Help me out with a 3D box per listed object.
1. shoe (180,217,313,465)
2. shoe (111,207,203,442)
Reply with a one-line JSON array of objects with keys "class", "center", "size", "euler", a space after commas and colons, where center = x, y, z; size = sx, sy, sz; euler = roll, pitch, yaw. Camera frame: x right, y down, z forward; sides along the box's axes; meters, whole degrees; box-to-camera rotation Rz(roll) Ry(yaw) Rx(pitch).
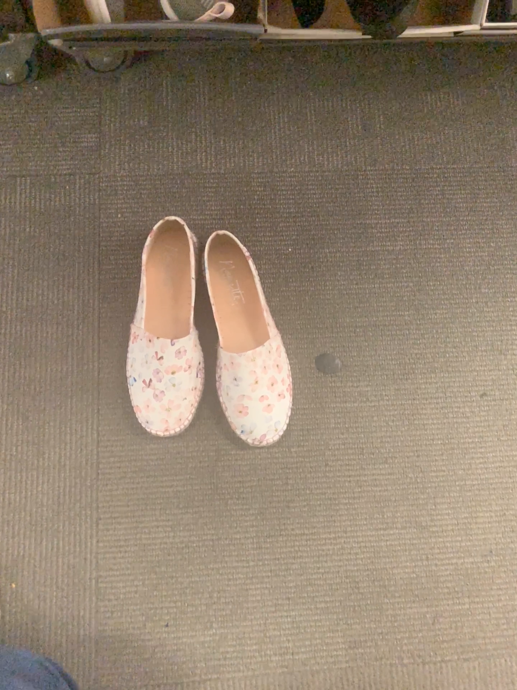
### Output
[{"class": "shoe", "center": [-0.017, -0.003, 0.615], "size": [0.091, 0.080, 0.263], "euler": [-12, 80, -4]}, {"class": "shoe", "center": [-0.114, -0.021, 0.616], "size": [0.091, 0.080, 0.263], "euler": [-1, 79, -2]}]
